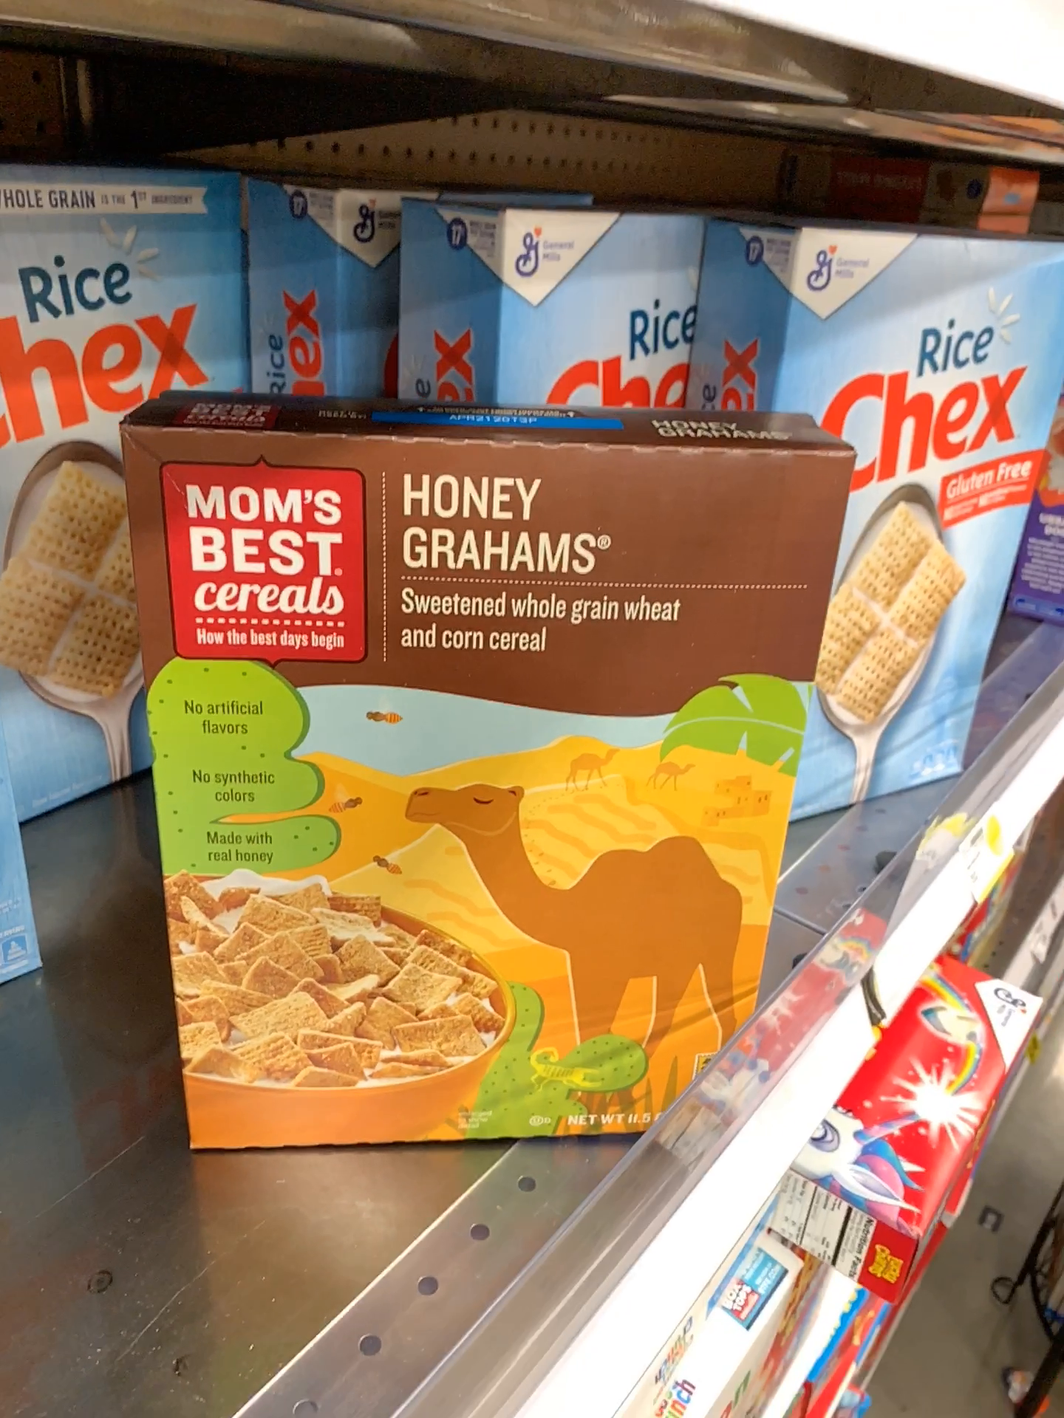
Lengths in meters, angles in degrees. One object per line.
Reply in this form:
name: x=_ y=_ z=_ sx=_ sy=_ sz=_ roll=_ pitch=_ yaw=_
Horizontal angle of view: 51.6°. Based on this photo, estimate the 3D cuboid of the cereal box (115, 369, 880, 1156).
cereal box: x=-0.015 y=0.029 z=0.365 sx=0.200 sy=0.259 sz=0.050 roll=0 pitch=25 yaw=-6
